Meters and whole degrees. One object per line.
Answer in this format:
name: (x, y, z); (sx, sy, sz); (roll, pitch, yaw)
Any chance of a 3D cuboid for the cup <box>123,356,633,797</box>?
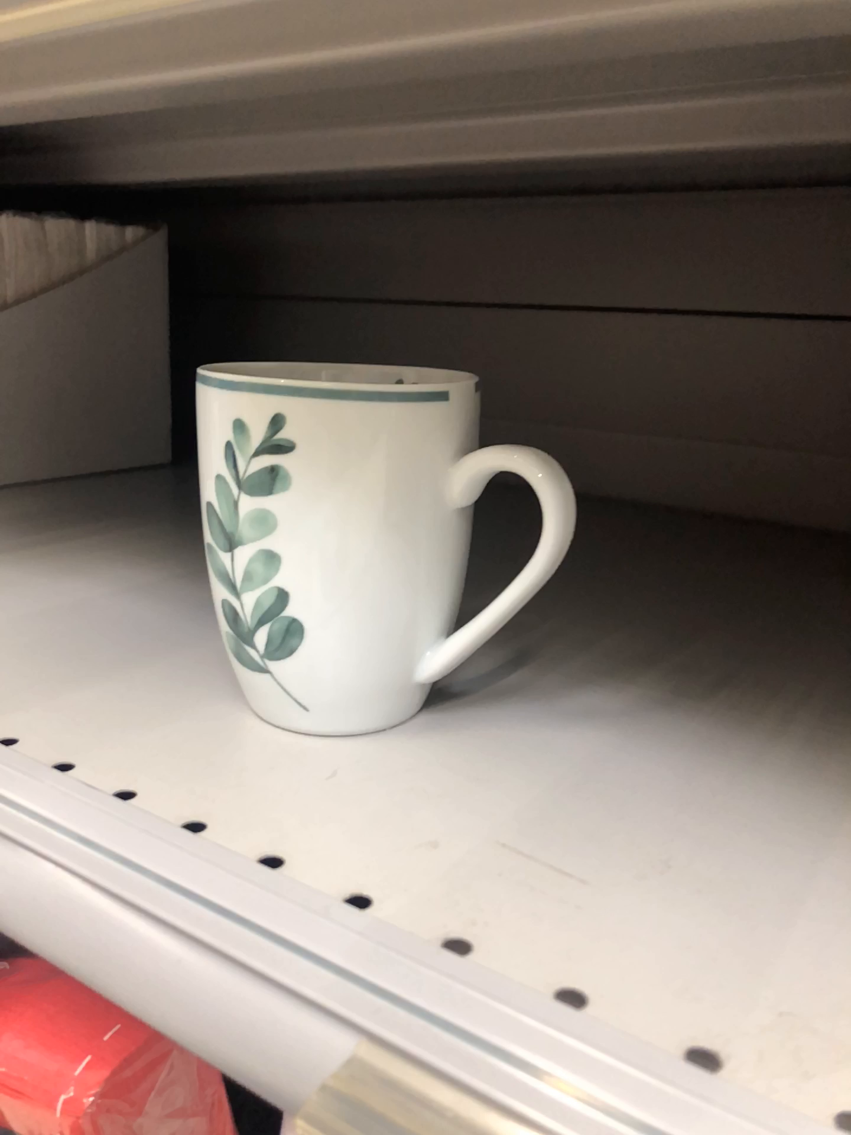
cup: (-0.015, -0.010, 0.275); (0.116, 0.093, 0.082); (13, 18, 34)
